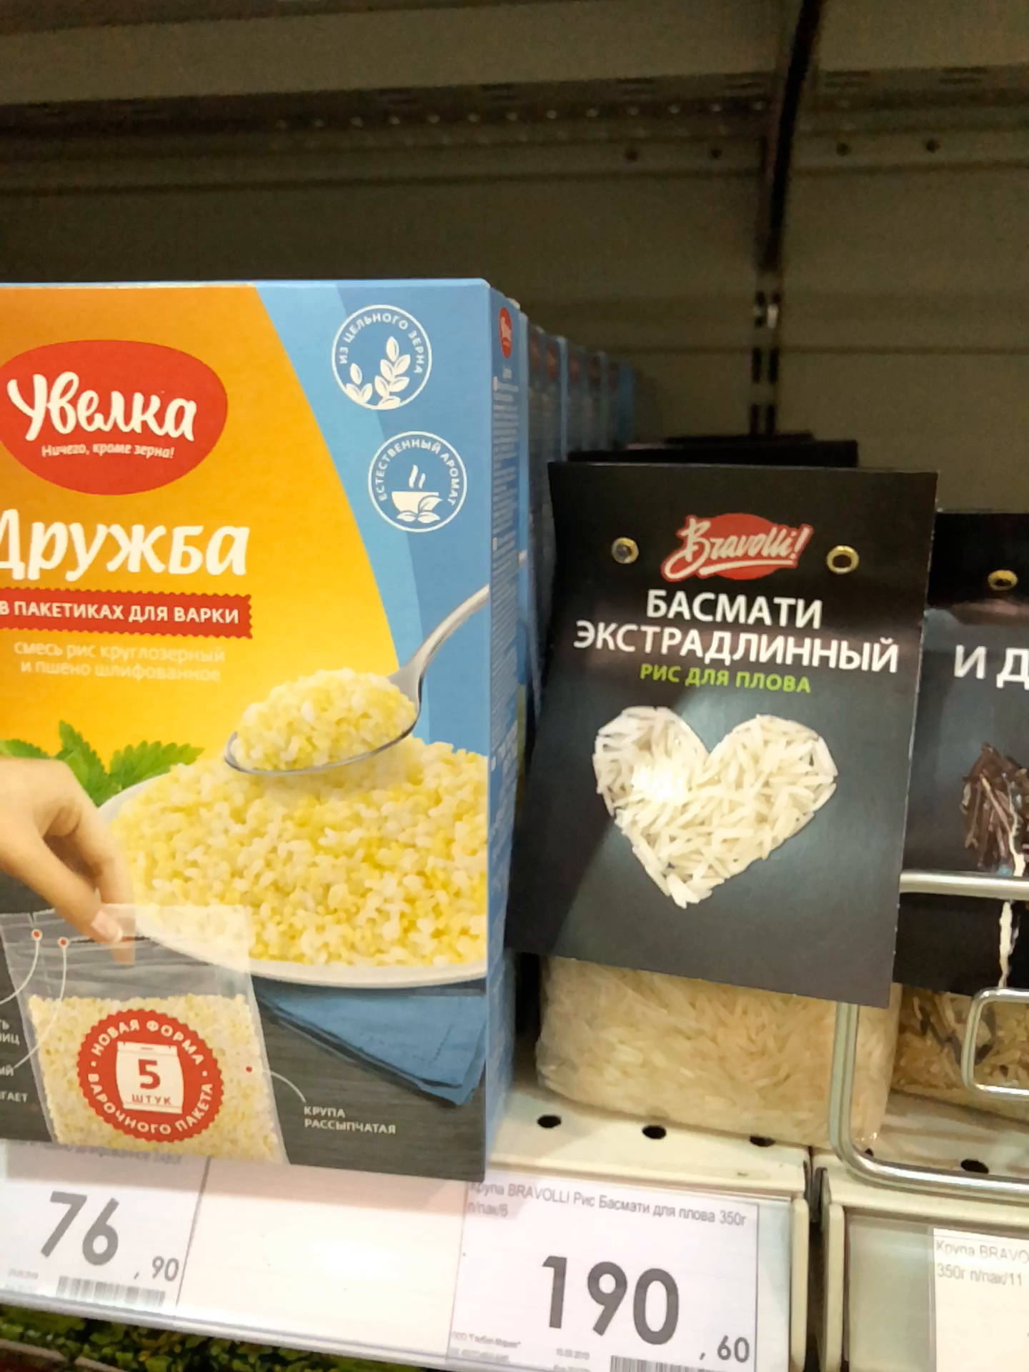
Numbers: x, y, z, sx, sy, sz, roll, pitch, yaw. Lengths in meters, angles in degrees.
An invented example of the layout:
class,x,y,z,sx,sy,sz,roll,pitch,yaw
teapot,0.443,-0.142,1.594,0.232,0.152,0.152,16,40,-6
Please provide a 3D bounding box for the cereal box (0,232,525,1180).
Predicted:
class,x,y,z,sx,sy,sz,roll,pitch,yaw
cereal box,-0.066,0.005,0.250,0.130,0.189,0.040,2,12,7
